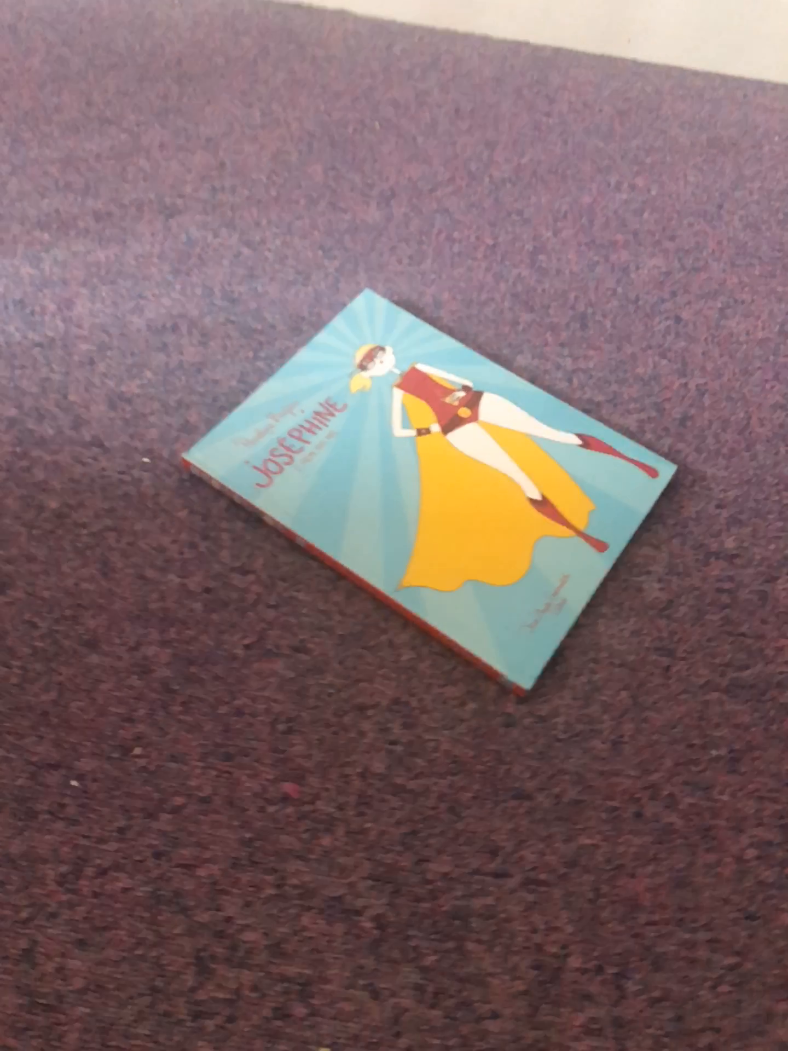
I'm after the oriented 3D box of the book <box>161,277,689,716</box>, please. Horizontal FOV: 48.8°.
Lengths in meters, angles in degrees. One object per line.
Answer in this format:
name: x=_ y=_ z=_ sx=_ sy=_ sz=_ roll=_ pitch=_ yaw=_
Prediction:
book: x=0.027 y=-0.043 z=0.639 sx=0.307 sy=0.020 sz=0.235 roll=33 pitch=61 yaw=15
